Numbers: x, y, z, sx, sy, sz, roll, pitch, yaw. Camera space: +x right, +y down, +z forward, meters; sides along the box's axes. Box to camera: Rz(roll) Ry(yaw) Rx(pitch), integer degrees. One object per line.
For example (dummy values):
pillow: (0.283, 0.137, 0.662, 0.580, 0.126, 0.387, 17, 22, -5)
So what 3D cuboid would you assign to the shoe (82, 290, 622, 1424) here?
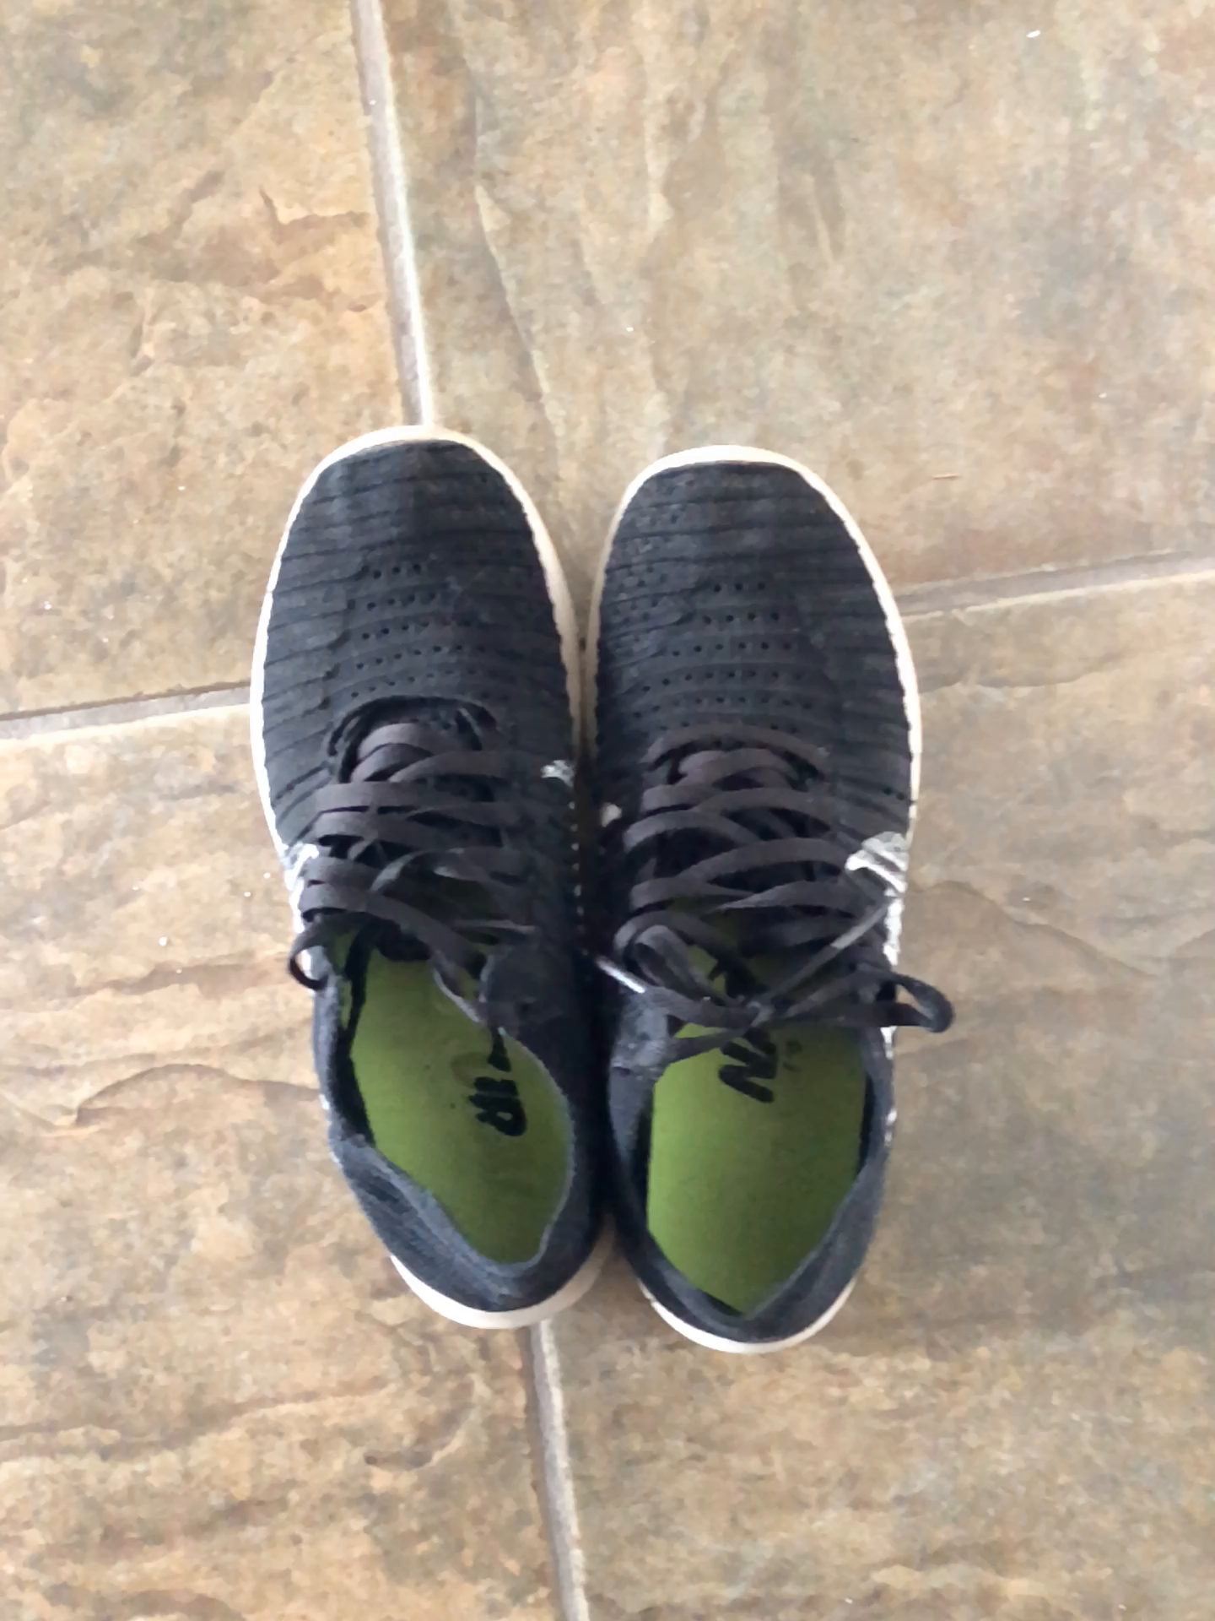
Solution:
shoe: (-0.063, 0.010, 0.363, 0.100, 0.090, 0.260, -7, 85, 1)

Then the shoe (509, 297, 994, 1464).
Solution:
shoe: (0.031, 0.015, 0.345, 0.100, 0.090, 0.260, -2, 85, 1)
